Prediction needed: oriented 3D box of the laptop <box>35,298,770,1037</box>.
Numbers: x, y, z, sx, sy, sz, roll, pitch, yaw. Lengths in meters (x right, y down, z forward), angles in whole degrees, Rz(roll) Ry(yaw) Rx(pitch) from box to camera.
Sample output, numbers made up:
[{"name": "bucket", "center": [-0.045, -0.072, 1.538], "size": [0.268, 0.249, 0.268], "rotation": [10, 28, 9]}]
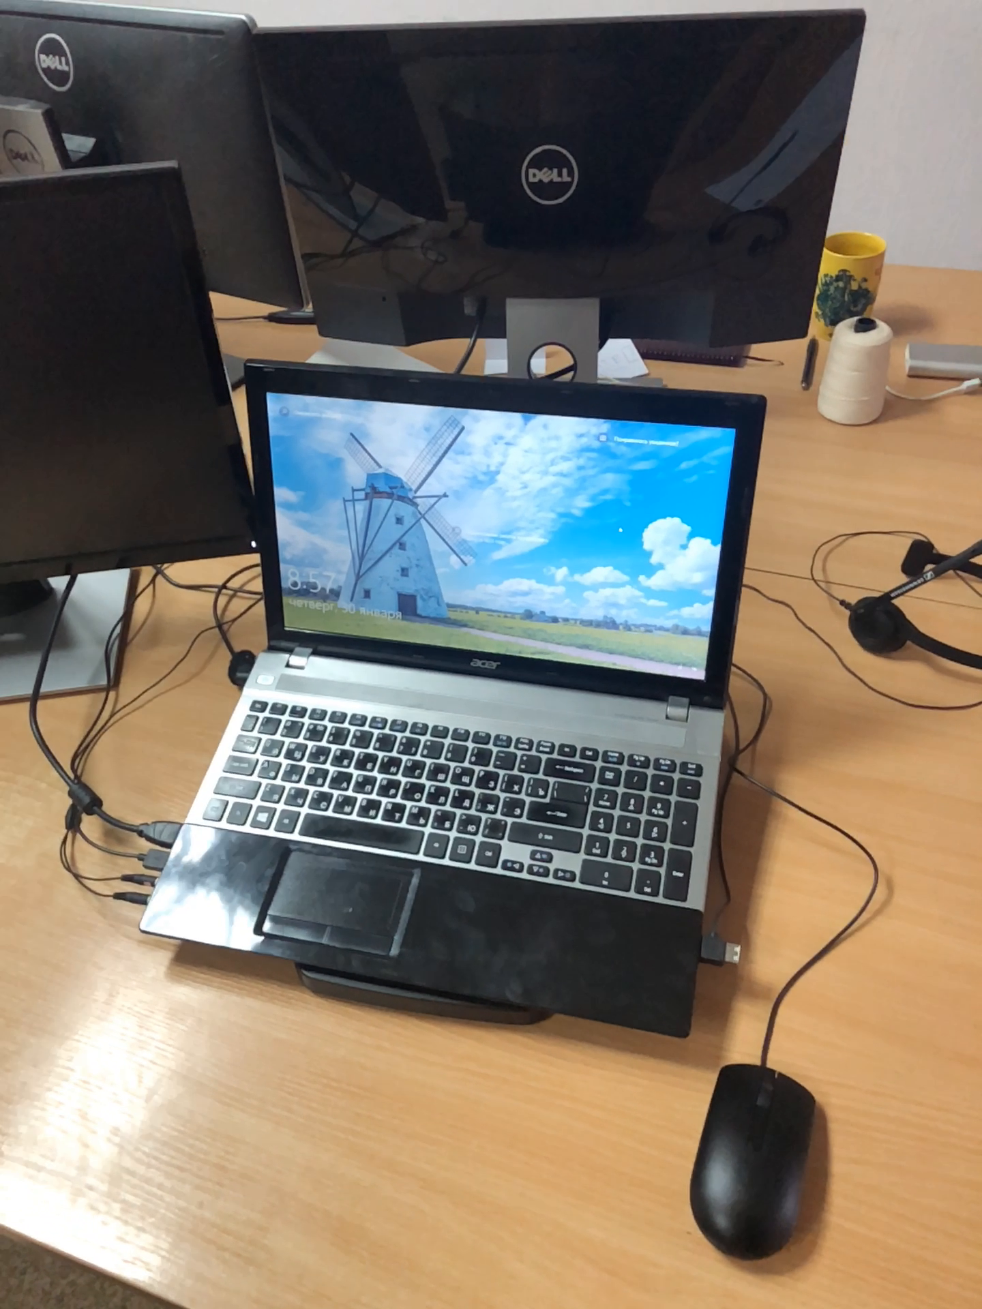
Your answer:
[{"name": "laptop", "center": [-0.028, -0.013, 0.729], "size": [0.373, 0.211, 0.361], "rotation": [7, 53, 12]}]
